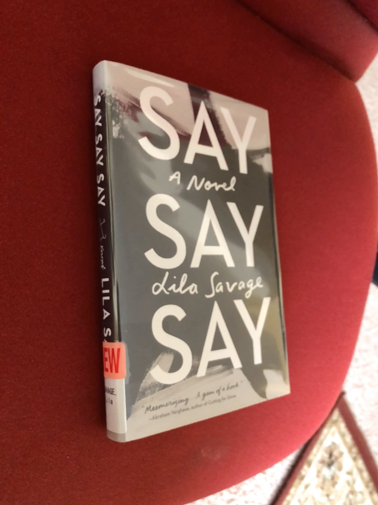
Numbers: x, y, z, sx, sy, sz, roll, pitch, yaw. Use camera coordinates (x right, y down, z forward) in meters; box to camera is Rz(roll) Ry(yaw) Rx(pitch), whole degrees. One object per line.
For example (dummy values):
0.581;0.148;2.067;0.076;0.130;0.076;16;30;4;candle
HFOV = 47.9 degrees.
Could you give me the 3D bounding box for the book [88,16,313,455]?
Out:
0.016;-0.008;0.267;0.151;0.040;0.210;0;89;-39;book
